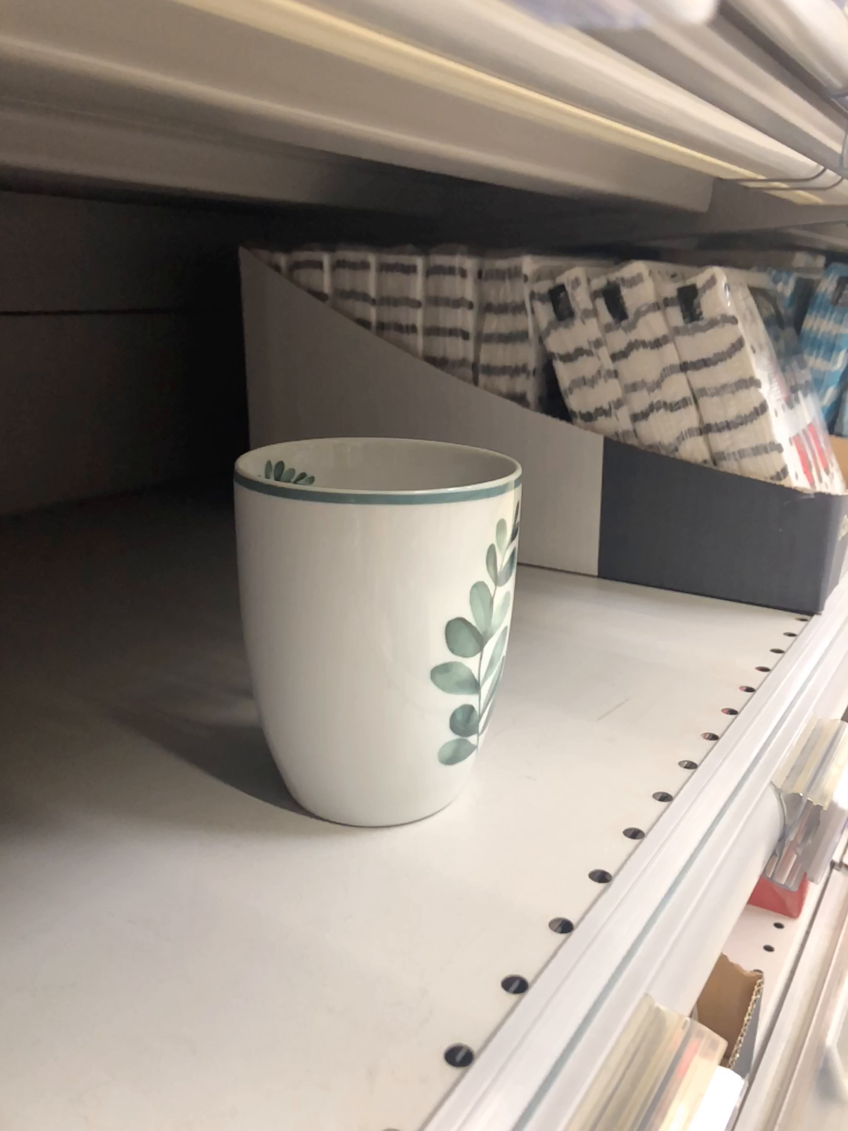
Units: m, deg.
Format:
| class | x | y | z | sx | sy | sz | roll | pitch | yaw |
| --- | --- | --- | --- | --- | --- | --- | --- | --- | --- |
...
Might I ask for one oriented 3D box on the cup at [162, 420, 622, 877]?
| class | x | y | z | sx | sy | sz | roll | pitch | yaw |
| --- | --- | --- | --- | --- | --- | --- | --- | --- | --- |
| cup | -0.005 | 0.012 | 0.289 | 0.082 | 0.093 | 0.117 | 13 | 20 | 32 |
